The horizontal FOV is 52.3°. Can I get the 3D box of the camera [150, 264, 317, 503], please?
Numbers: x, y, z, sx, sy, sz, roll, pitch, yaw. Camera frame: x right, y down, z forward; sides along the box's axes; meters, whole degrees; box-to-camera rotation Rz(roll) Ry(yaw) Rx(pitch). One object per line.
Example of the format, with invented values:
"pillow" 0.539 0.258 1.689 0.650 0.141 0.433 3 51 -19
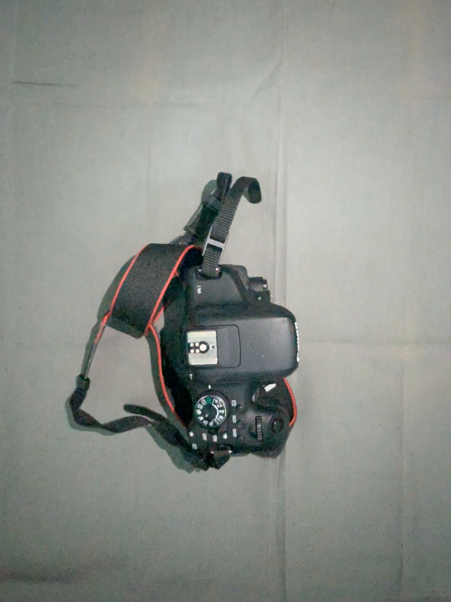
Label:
"camera" 0.005 0.050 0.311 0.090 0.088 0.132 -3 86 1
